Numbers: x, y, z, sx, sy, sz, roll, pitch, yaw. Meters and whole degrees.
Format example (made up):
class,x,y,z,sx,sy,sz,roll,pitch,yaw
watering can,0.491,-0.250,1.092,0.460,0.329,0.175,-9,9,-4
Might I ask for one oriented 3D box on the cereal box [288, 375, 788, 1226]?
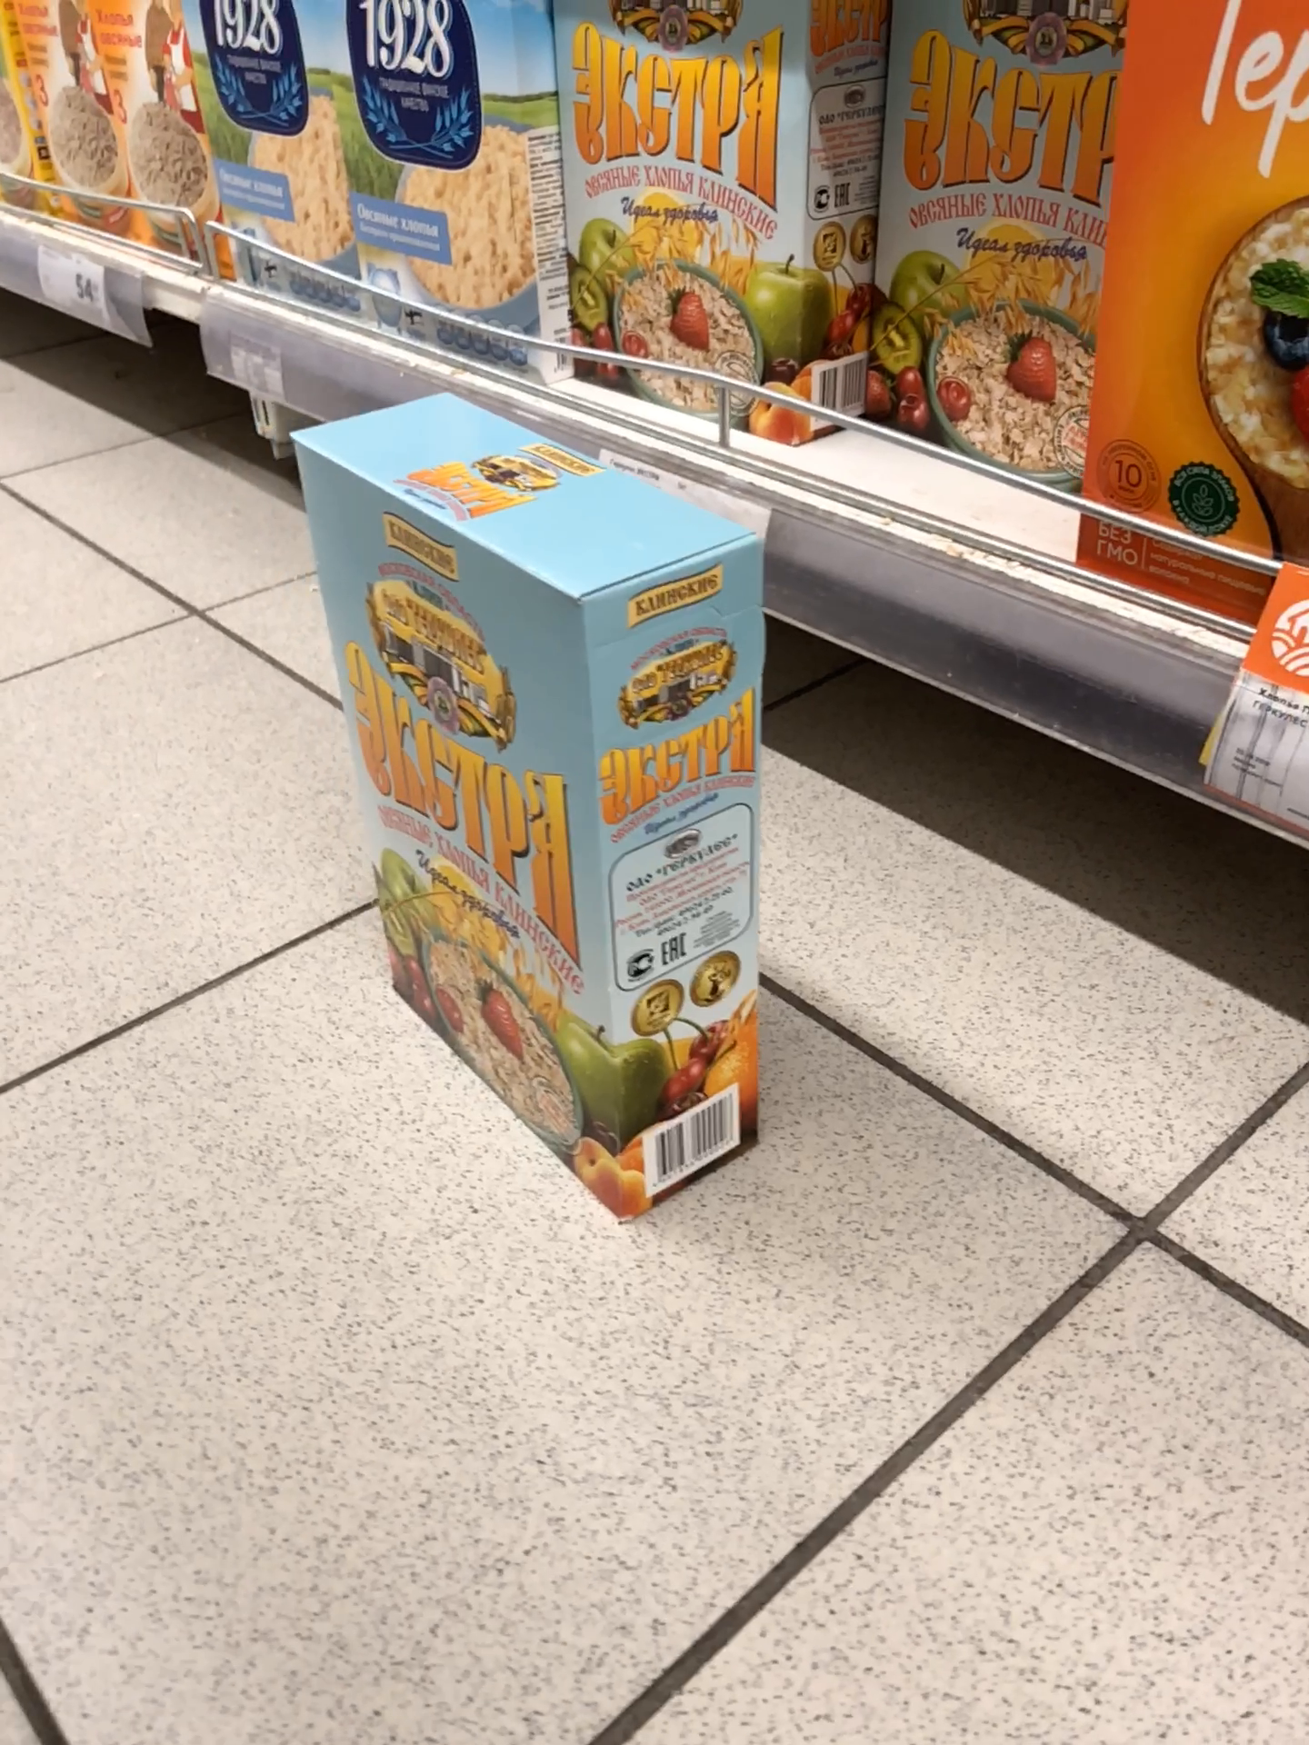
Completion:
class,x,y,z,sx,sy,sz,roll,pitch,yaw
cereal box,-0.033,-0.023,0.441,0.060,0.209,0.151,-25,41,-28
